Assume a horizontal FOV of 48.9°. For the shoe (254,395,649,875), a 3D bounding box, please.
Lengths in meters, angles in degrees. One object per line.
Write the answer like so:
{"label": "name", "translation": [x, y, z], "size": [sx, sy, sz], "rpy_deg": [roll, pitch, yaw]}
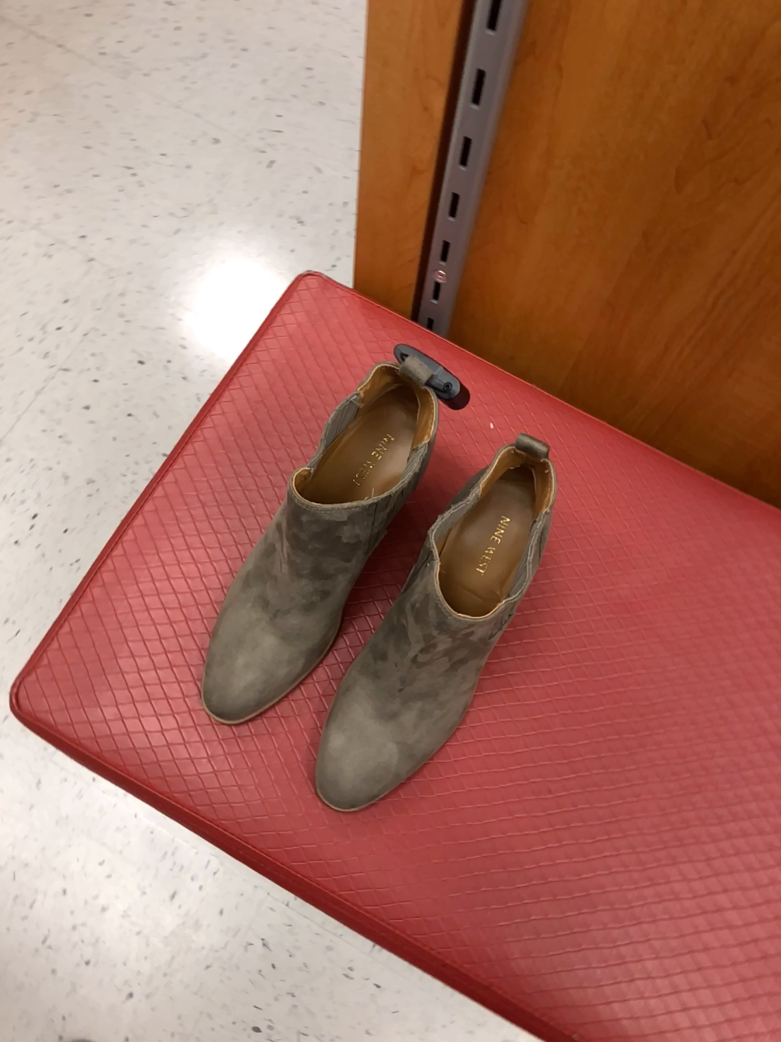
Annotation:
{"label": "shoe", "translation": [0.036, 0.075, 0.545], "size": [0.107, 0.150, 0.250], "rpy_deg": [31, 71, 7]}

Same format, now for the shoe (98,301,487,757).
{"label": "shoe", "translation": [-0.054, 0.013, 0.567], "size": [0.097, 0.160, 0.250], "rpy_deg": [31, 71, 7]}
